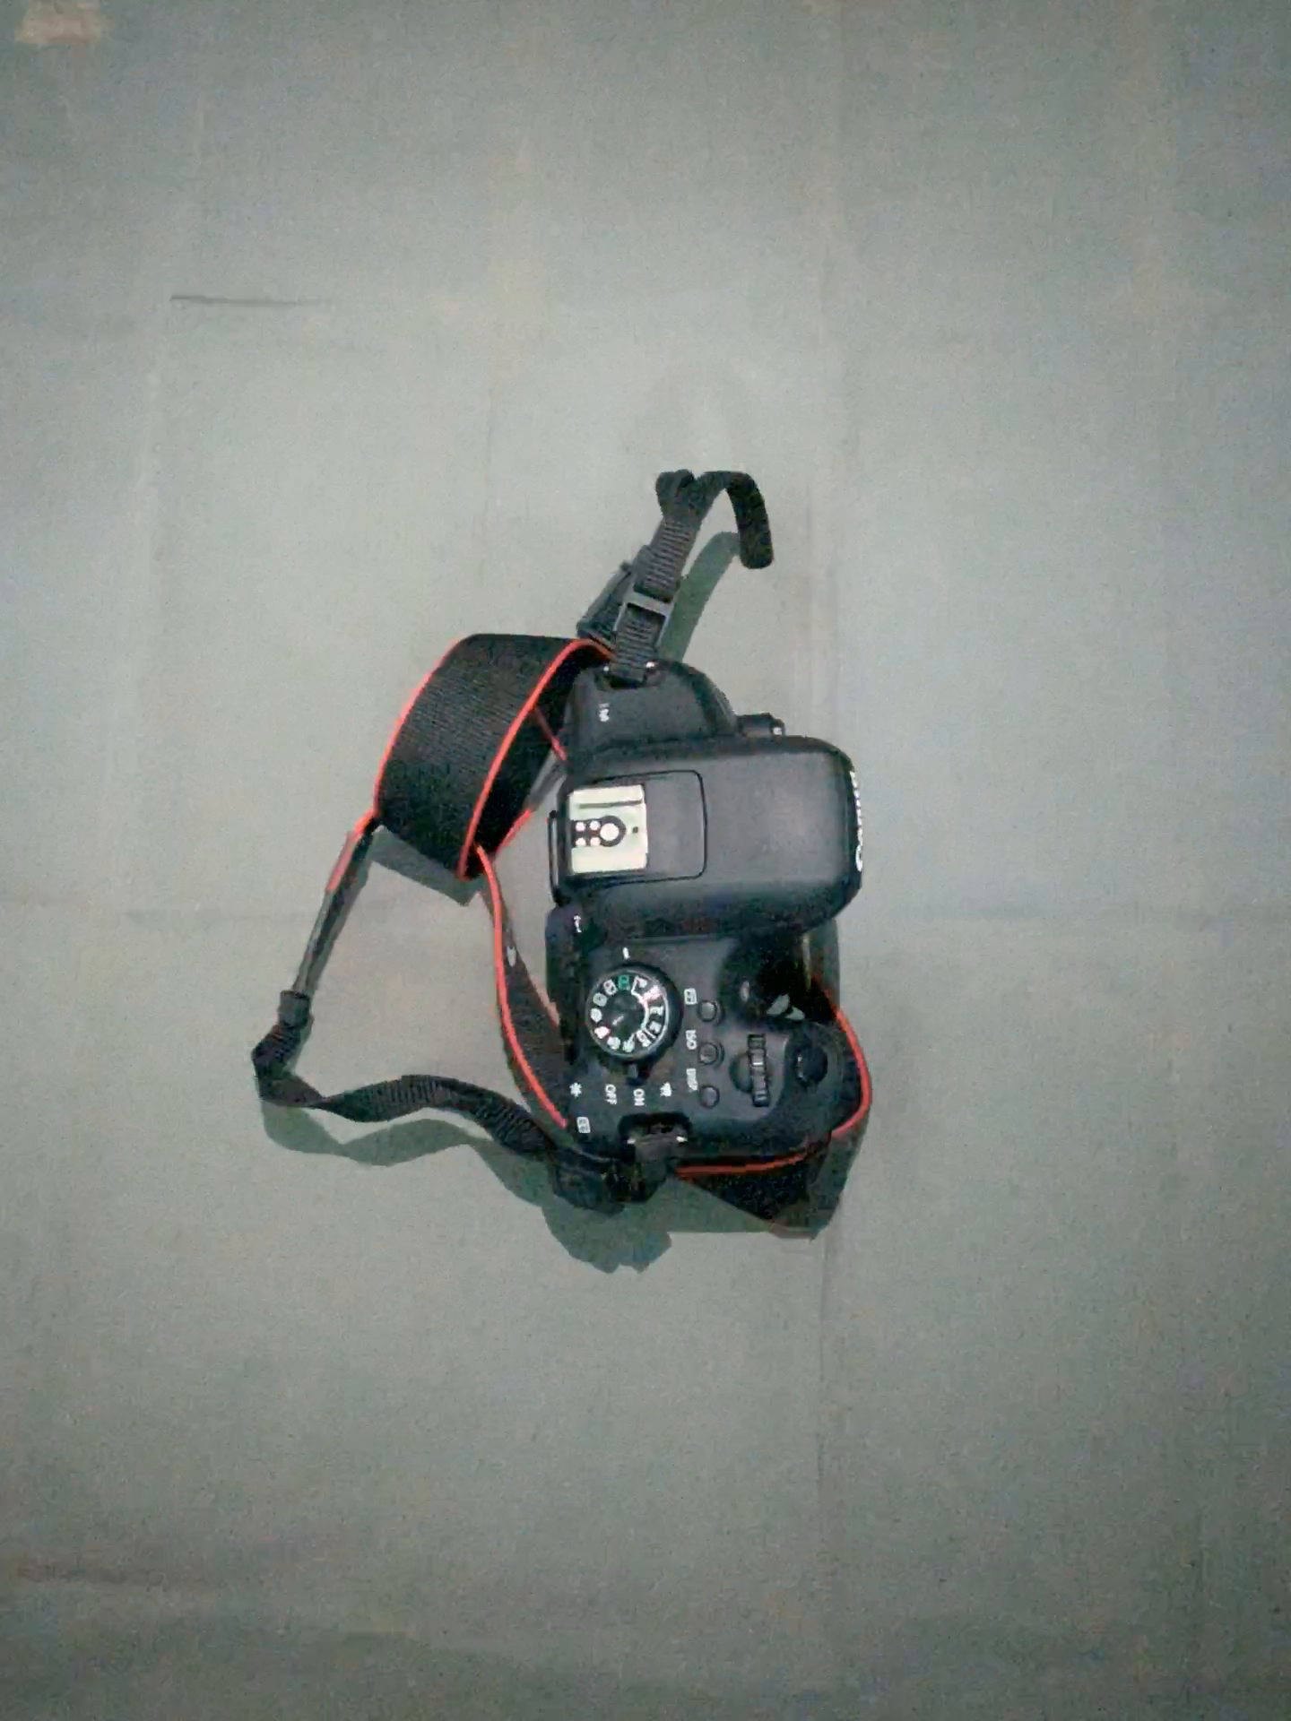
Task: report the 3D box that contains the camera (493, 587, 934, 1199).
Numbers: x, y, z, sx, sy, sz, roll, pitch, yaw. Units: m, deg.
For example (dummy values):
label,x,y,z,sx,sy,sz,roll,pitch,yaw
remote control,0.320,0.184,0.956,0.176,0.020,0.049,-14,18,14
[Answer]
label,x,y,z,sx,sy,sz,roll,pitch,yaw
camera,0.015,0.015,0.330,0.090,0.088,0.132,-2,75,3
